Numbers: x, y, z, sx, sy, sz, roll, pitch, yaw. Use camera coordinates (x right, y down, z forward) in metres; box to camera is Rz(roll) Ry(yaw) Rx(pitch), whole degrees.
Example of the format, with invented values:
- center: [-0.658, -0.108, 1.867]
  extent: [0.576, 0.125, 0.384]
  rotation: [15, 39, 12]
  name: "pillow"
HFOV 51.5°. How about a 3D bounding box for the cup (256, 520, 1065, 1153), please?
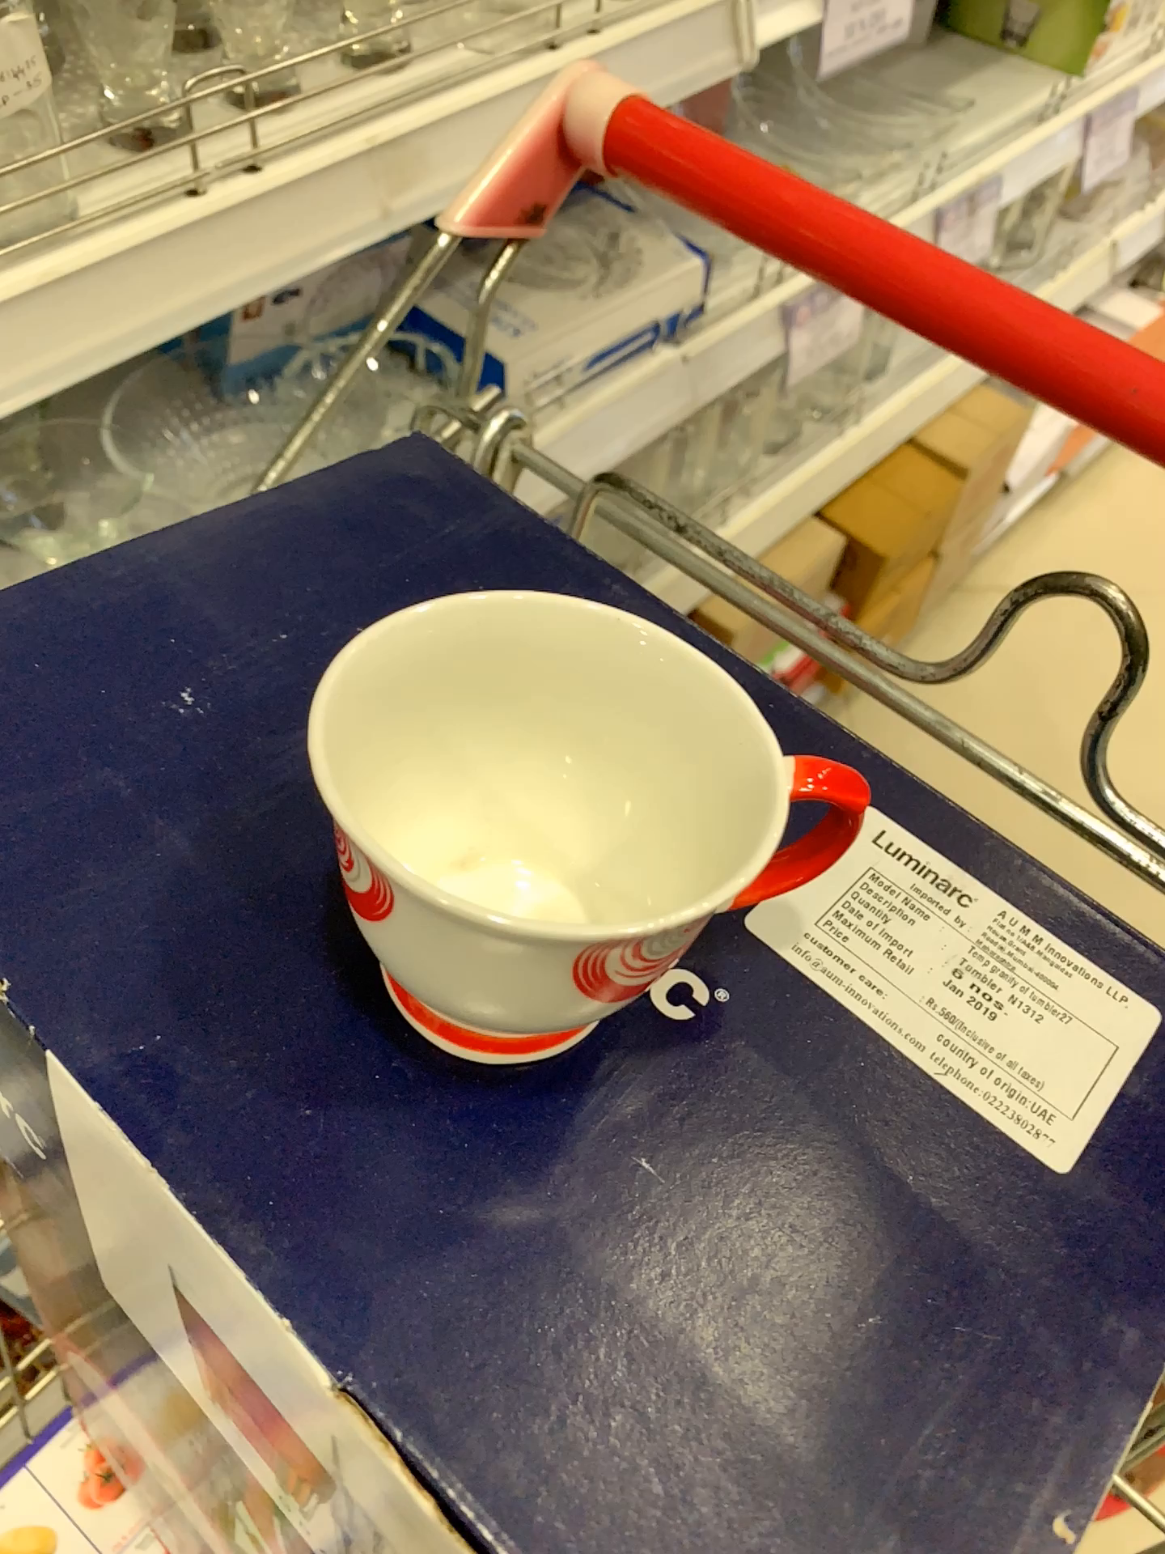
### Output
- center: [0.006, 0.005, 0.191]
  extent: [0.100, 0.050, 0.070]
  rotation: [-8, 54, -21]
  name: "cup"
